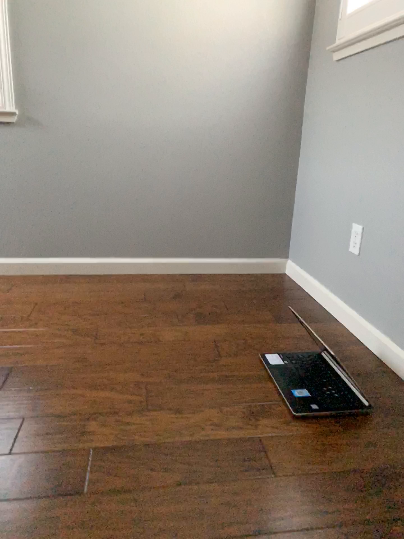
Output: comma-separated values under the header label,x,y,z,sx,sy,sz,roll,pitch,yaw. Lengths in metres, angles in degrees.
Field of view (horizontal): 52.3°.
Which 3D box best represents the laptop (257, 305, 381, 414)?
label,x,y,z,sx,sy,sz,roll,pitch,yaw
laptop,0.319,0.244,1.204,0.219,0.169,0.318,0,17,-9
